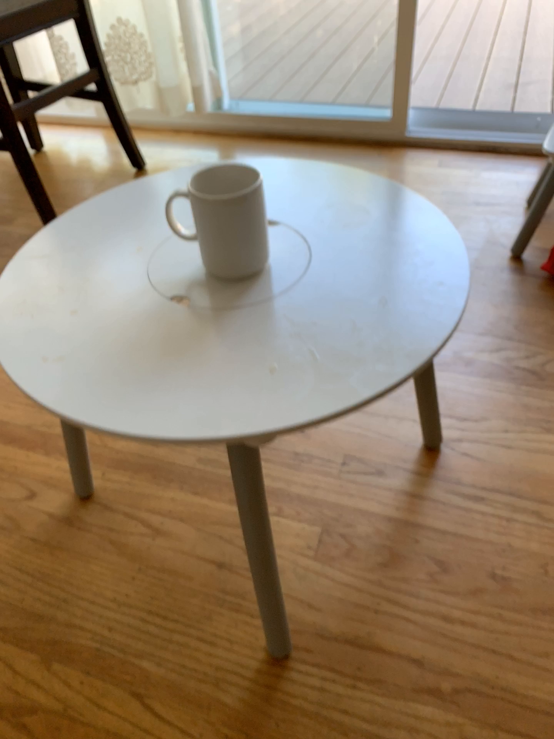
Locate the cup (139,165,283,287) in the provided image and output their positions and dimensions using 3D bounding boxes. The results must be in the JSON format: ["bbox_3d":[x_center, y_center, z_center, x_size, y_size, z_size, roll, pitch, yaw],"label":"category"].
[{"bbox_3d":[-0.074,-0.176,0.697,0.130,0.090,0.110,9,45,15],"label":"cup"}]
